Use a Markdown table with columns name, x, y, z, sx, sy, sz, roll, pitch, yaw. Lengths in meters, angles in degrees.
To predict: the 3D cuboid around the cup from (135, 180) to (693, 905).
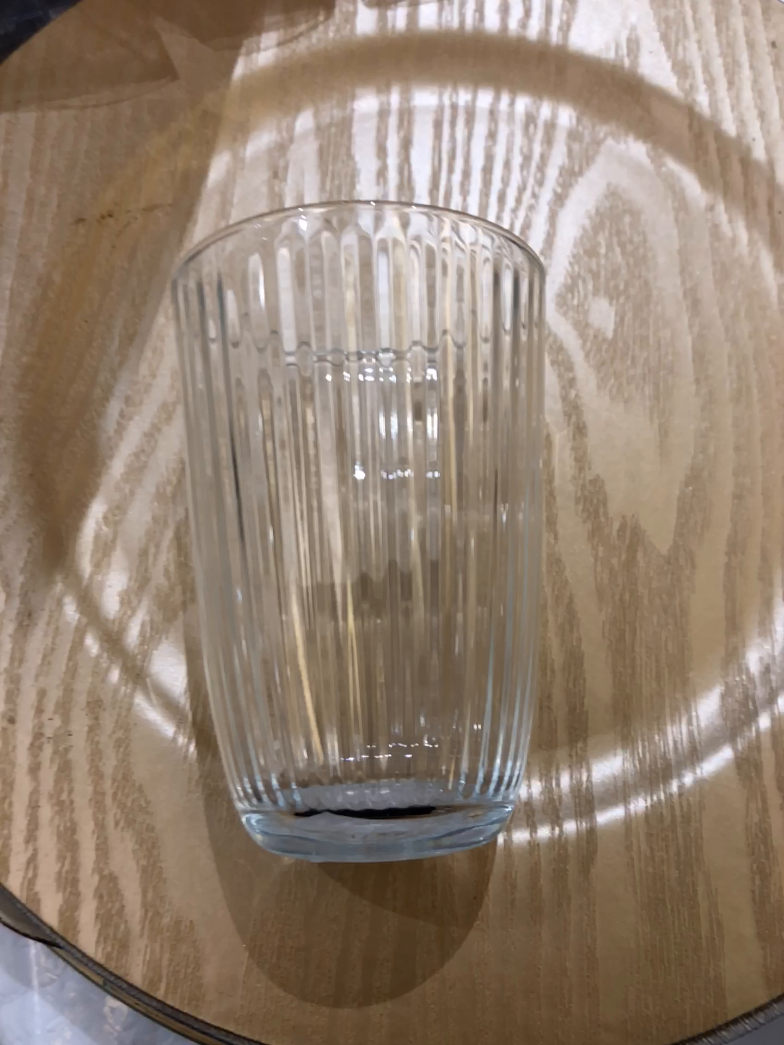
| name | x | y | z | sx | sy | sz | roll | pitch | yaw |
| --- | --- | --- | --- | --- | --- | --- | --- | --- | --- |
| cup | -0.001 | 0.005 | 0.193 | 0.090 | 0.070 | 0.130 | -3 | 74 | -3 |
